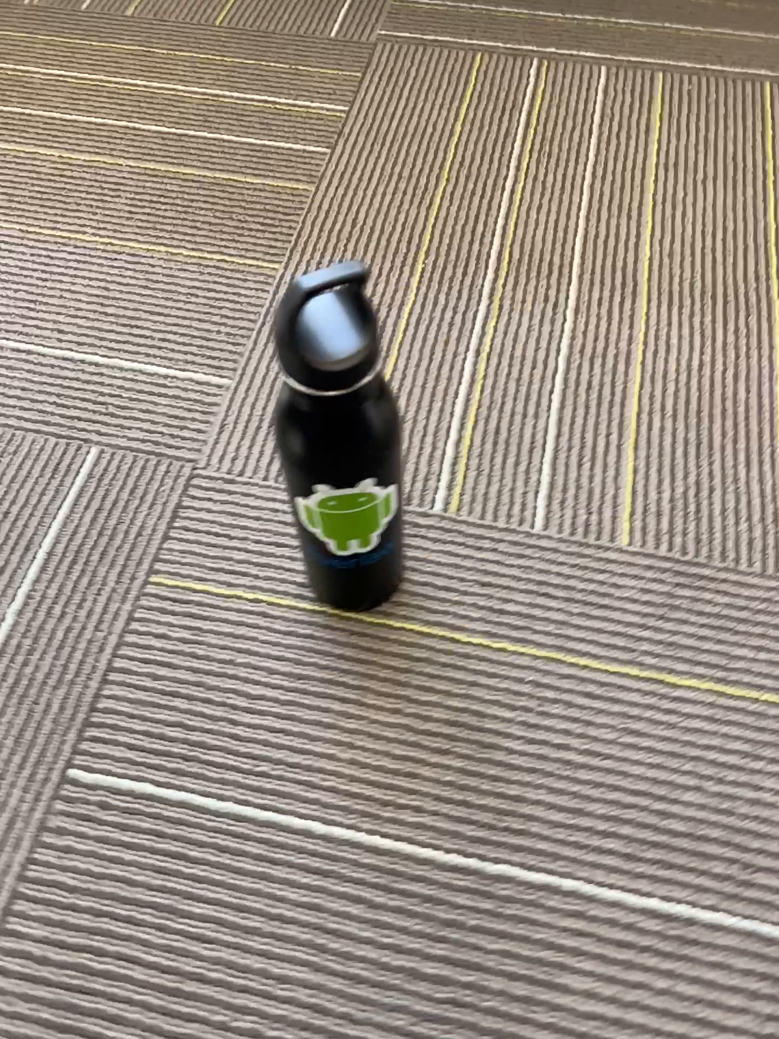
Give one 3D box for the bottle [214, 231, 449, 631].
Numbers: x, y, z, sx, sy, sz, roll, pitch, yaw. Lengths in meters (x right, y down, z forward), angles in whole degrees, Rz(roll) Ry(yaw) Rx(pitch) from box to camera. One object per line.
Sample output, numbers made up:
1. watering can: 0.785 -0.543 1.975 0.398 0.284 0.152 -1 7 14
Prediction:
1. bottle: -0.026 -0.029 0.441 0.090 0.239 0.080 -8 59 -4
